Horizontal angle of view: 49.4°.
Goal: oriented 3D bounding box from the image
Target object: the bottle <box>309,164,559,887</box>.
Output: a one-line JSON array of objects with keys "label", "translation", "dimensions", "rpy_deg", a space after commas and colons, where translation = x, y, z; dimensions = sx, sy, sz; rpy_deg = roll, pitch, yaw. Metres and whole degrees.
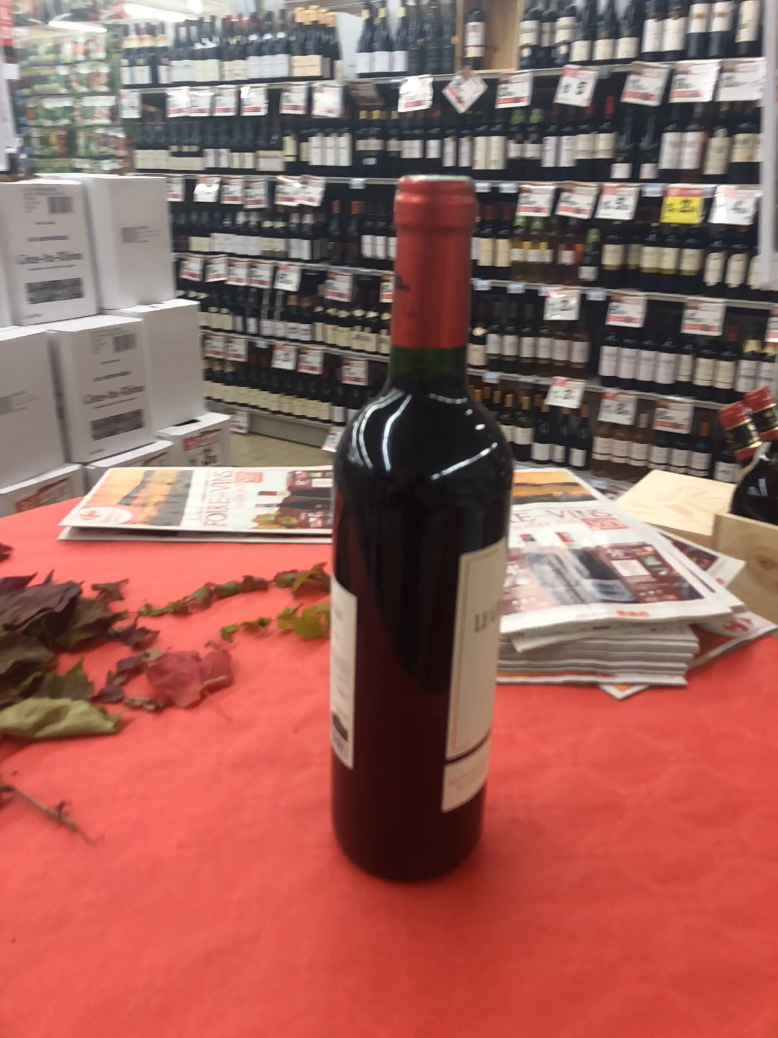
[{"label": "bottle", "translation": [0.012, 0.010, 0.363], "dimensions": [0.080, 0.298, 0.080], "rpy_deg": [0, 22, 0]}]
